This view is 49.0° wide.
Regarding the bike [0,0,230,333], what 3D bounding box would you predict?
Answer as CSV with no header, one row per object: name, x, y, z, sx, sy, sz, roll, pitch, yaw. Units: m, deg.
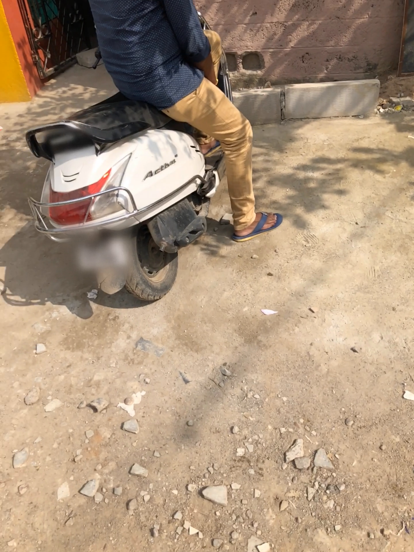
bike,-0.343,-0.777,2.175,0.620,1.187,1.604,5,41,12
